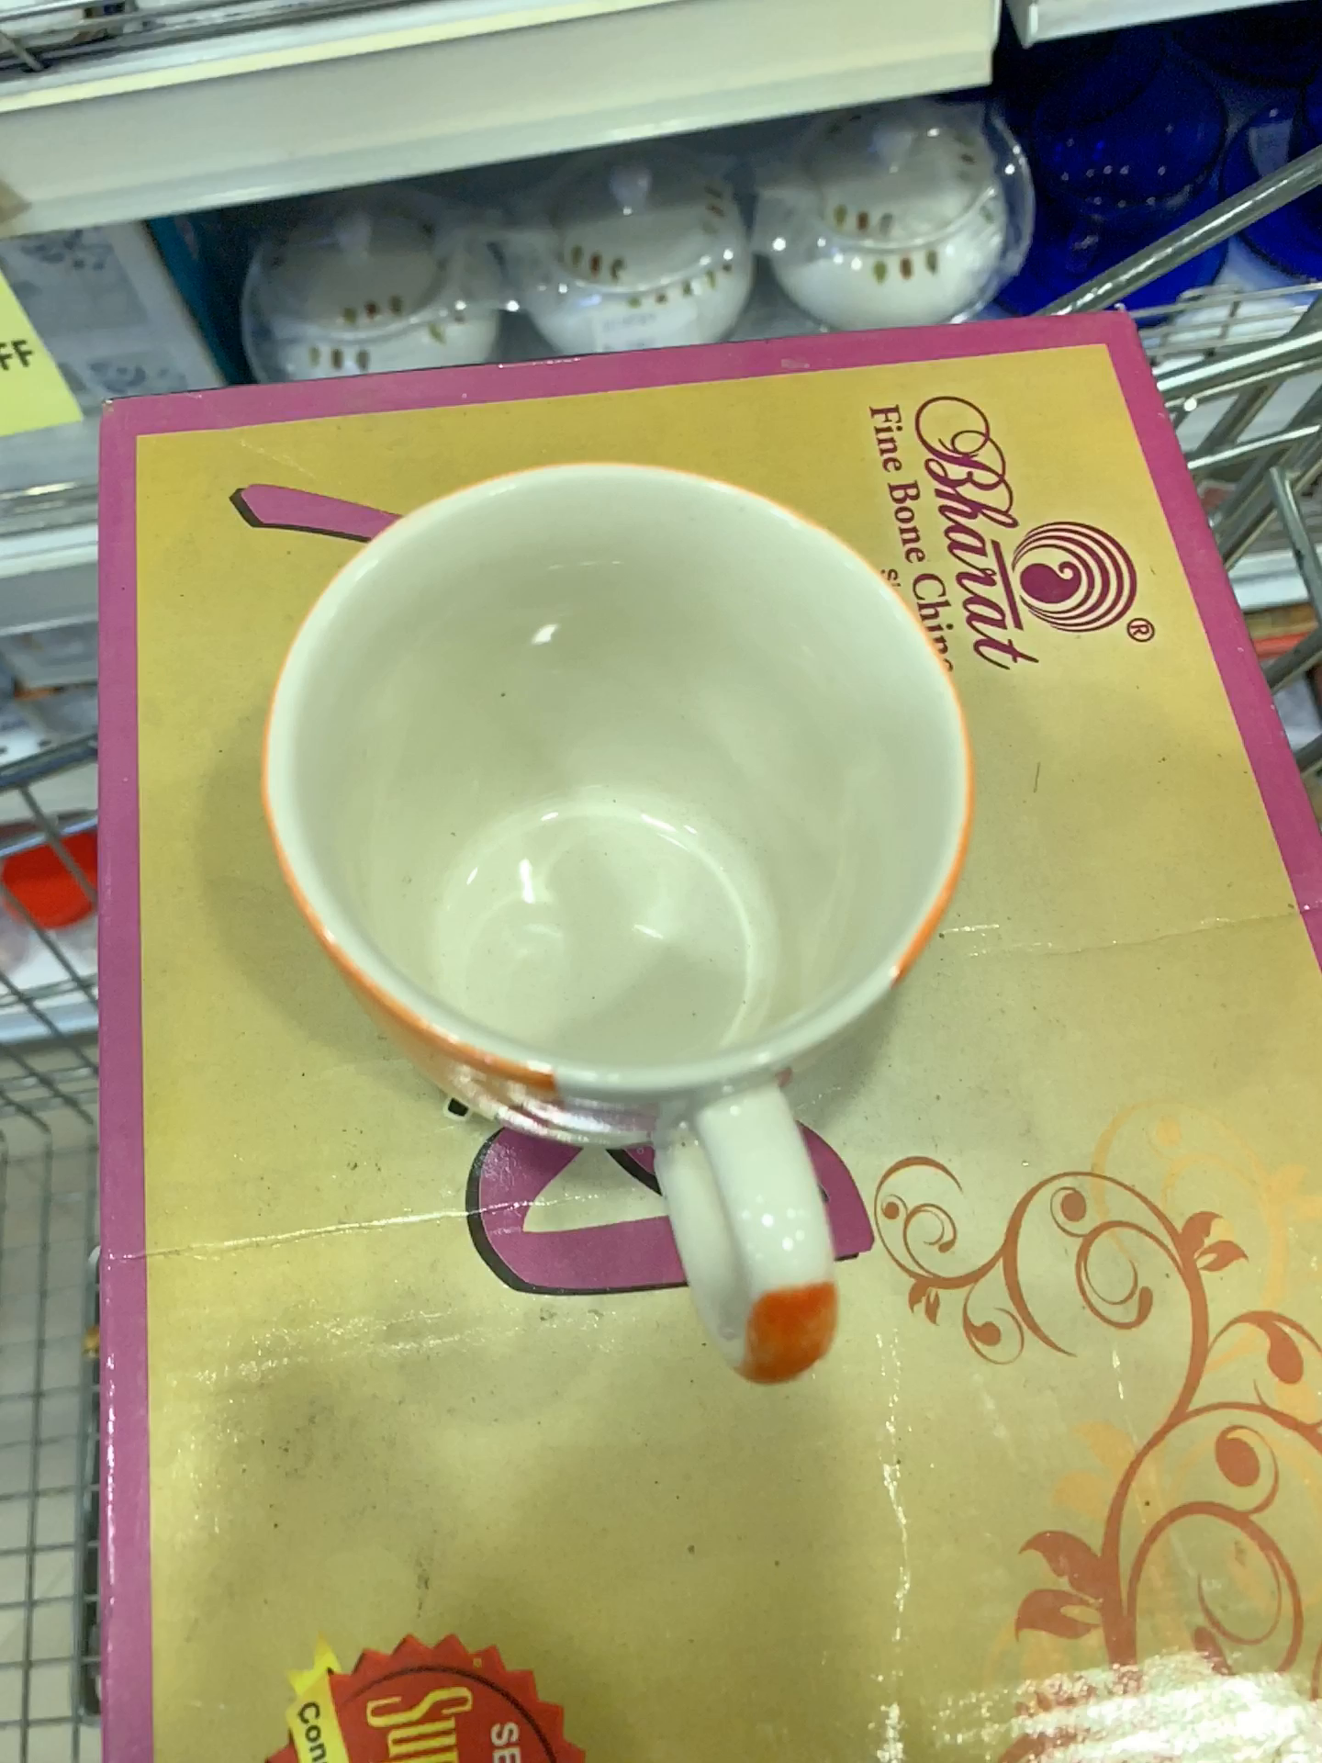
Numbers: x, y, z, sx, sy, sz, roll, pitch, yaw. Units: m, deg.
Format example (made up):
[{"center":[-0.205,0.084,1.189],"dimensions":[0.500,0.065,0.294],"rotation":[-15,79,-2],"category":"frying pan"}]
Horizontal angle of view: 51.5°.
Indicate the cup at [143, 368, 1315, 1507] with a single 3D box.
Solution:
[{"center":[0.000,0.009,0.154],"dimensions":[0.080,0.070,0.090],"rotation":[-15,68,-10],"category":"cup"}]
